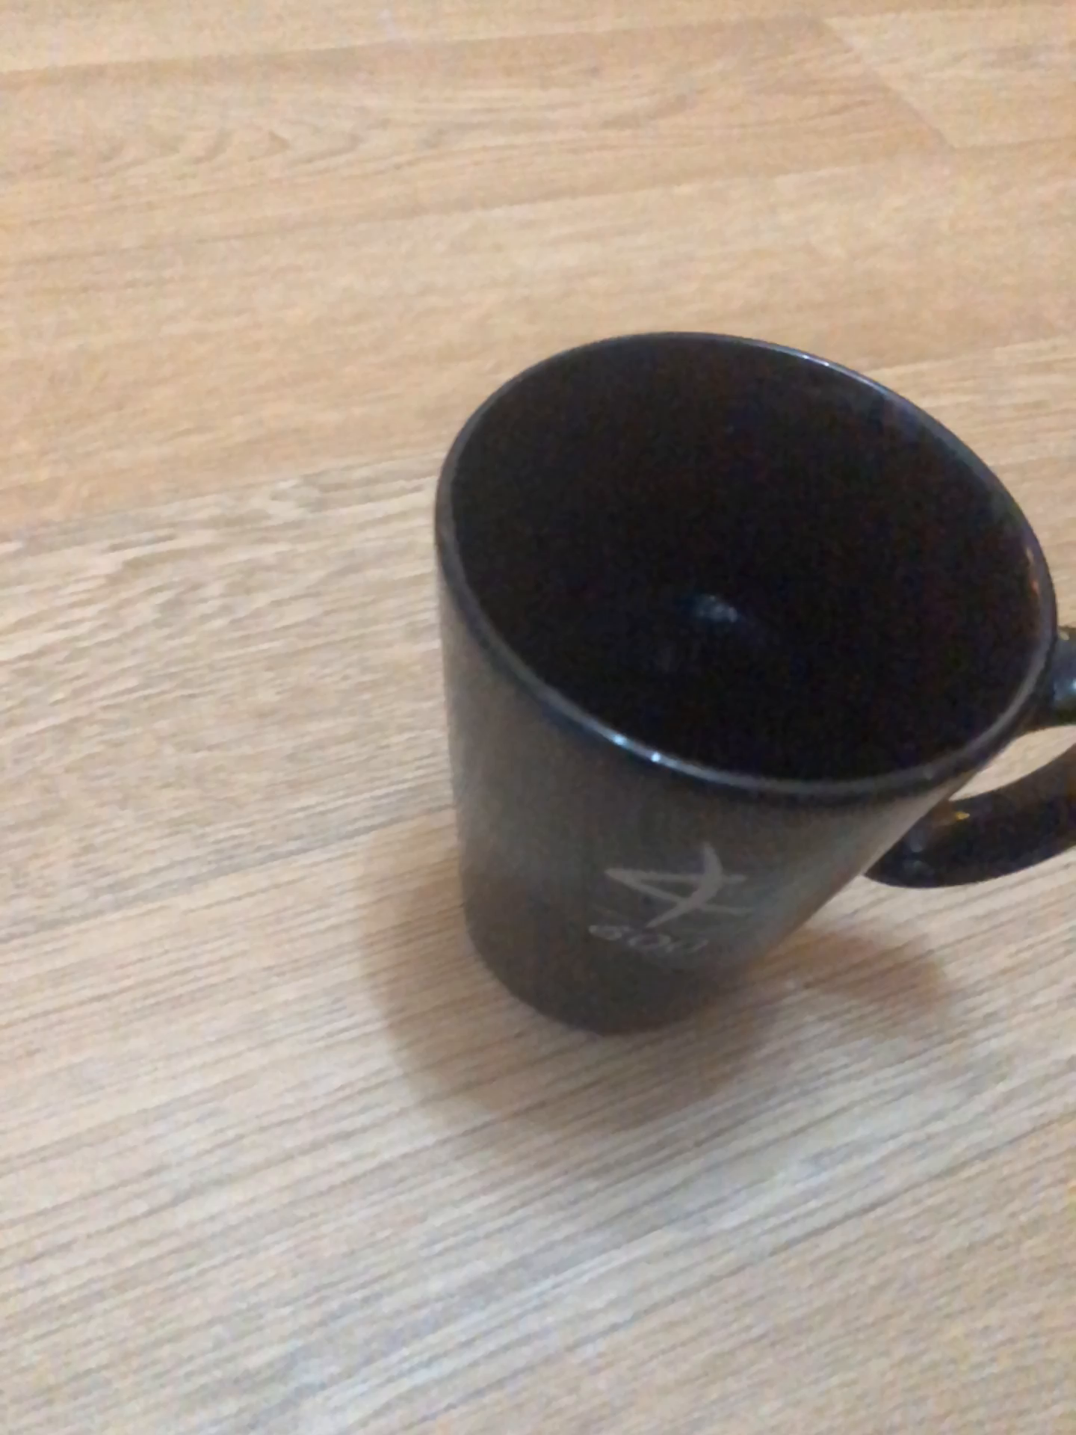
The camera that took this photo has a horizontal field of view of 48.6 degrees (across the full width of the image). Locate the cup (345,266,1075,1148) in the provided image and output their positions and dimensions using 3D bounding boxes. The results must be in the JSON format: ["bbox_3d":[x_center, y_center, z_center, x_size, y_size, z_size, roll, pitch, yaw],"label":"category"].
[{"bbox_3d":[0.038,0.002,0.197,0.120,0.090,0.090,11,54,-2],"label":"cup"}]
